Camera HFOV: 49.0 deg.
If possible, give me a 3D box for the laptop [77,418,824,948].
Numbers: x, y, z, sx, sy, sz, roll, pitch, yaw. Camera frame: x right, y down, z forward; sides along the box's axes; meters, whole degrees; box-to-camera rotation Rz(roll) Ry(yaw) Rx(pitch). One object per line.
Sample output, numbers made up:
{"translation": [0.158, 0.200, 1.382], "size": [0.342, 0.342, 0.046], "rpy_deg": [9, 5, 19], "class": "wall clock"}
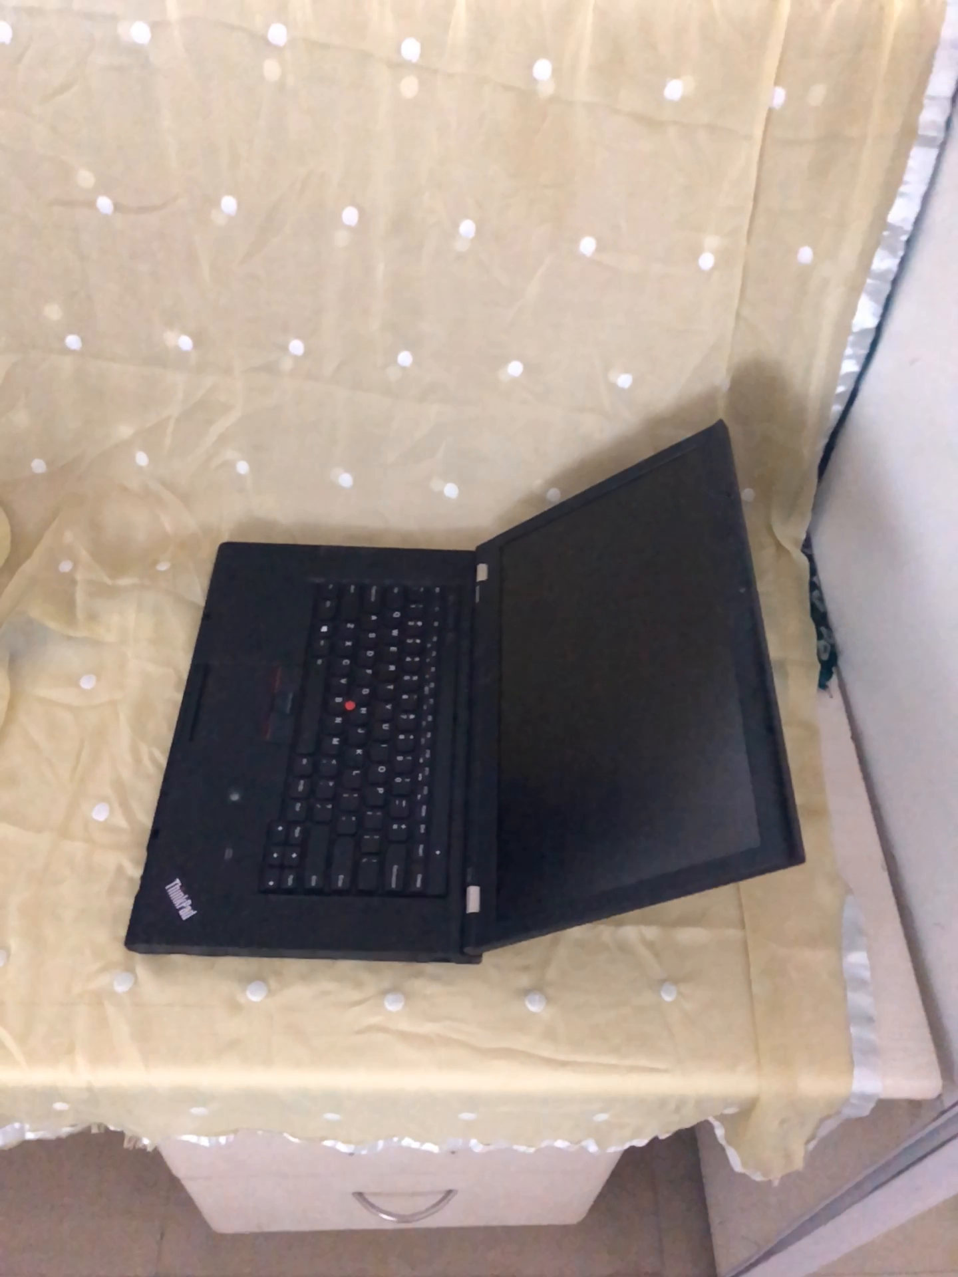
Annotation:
{"translation": [-0.020, 0.020, 0.763], "size": [0.424, 0.156, 0.349], "rpy_deg": [0, 52, 2], "class": "laptop"}
